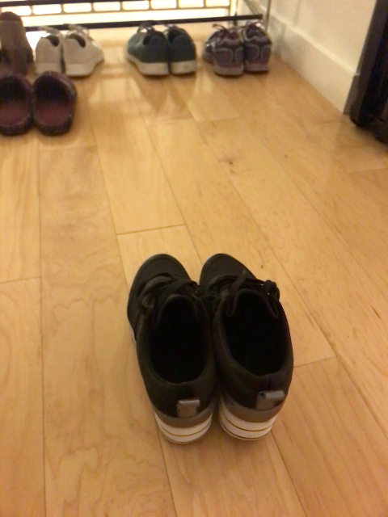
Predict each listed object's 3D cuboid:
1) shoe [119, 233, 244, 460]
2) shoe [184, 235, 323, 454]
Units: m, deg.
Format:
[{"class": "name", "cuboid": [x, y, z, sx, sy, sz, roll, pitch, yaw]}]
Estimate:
[{"class": "shoe", "cuboid": [-0.028, 0.092, 0.526, 0.100, 0.099, 0.252, -7, 44, -10]}, {"class": "shoe", "cuboid": [0.055, 0.092, 0.535, 0.110, 0.099, 0.252, -3, 43, -6]}]
